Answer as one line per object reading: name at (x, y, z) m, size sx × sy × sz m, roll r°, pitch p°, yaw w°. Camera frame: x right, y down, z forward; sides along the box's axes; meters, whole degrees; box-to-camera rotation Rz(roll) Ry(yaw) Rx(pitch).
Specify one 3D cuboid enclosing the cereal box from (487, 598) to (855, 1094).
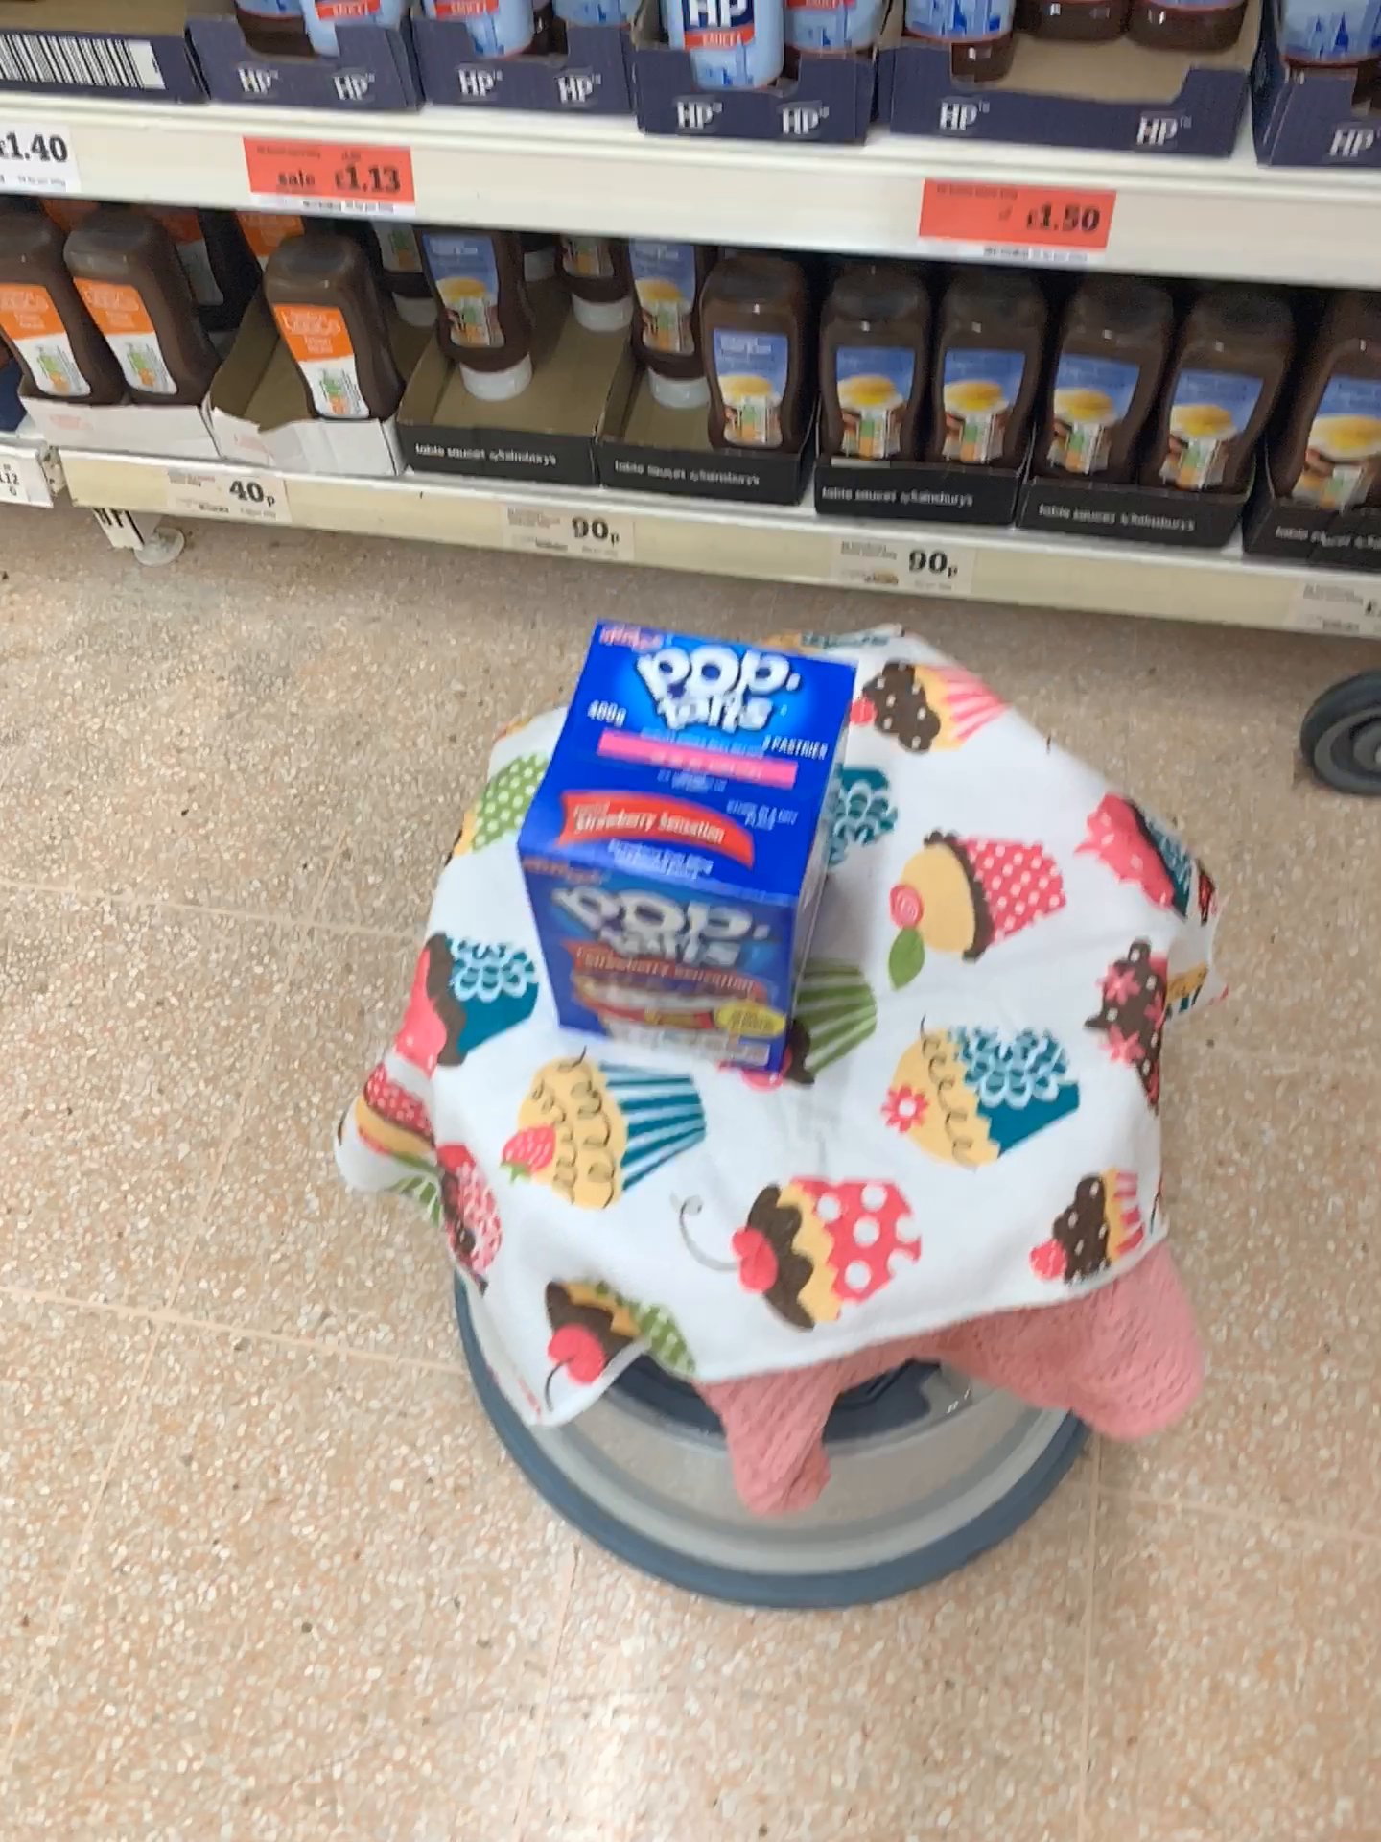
cereal box at (0.000, -0.021, 0.495) m, size 0.090 × 0.139 × 0.101 m, roll 12°, pitch 62°, yaw 10°
